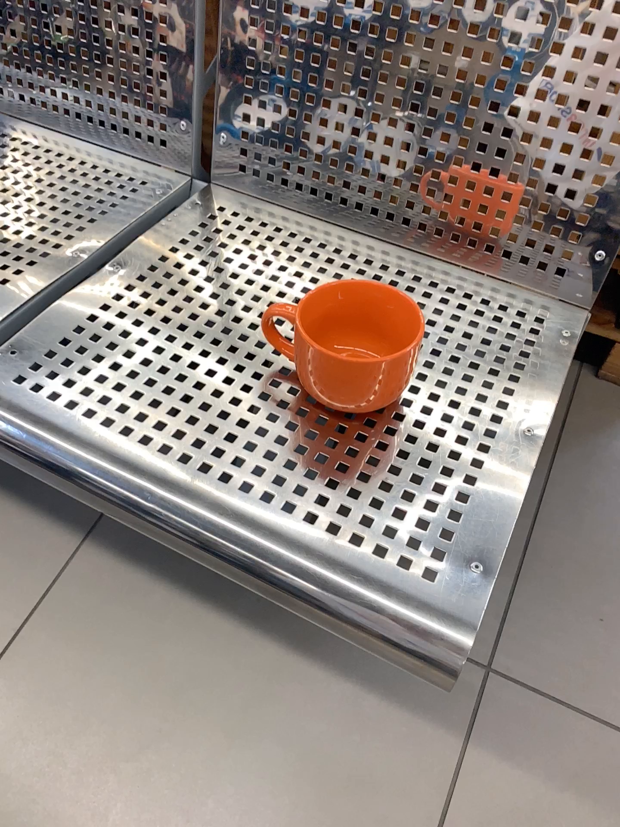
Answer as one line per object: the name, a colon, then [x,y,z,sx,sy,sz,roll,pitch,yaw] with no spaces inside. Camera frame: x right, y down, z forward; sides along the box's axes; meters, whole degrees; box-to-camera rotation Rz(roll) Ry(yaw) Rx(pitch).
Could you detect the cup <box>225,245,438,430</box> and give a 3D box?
cup: [0.018,-0.072,0.566,0.150,0.070,0.110,22,48,15]
